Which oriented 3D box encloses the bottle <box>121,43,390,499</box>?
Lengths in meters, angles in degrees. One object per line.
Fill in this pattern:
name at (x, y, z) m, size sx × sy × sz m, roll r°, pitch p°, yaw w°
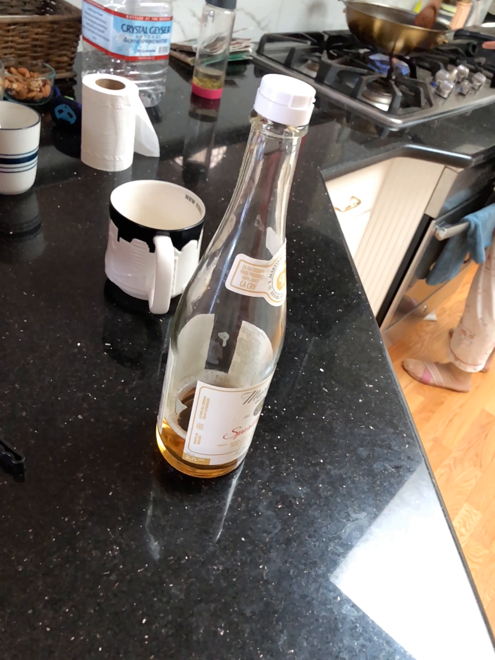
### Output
bottle at (-0.011, -0.021, 0.377) m, size 0.098 × 0.288 × 0.094 m, roll 9°, pitch 40°, yaw -8°
